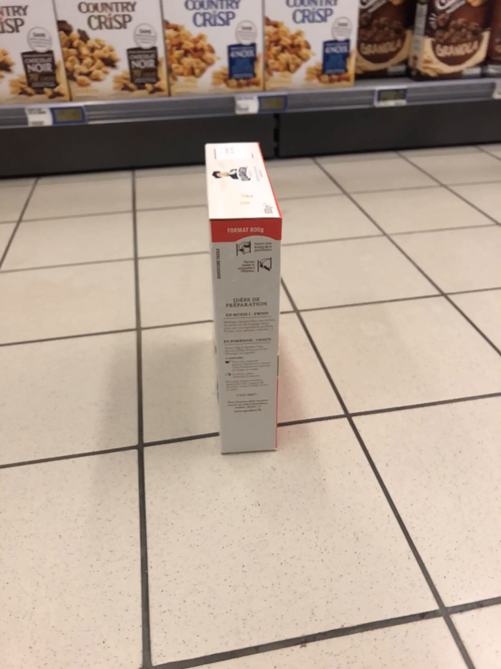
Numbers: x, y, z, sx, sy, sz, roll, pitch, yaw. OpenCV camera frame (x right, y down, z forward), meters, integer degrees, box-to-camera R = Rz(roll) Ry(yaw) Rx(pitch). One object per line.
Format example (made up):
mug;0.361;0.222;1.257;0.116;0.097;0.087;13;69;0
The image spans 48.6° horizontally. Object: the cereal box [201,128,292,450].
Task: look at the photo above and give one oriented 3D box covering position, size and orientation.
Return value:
cereal box;-0.011;-0.052;0.524;0.060;0.229;0.211;-2;32;-4
